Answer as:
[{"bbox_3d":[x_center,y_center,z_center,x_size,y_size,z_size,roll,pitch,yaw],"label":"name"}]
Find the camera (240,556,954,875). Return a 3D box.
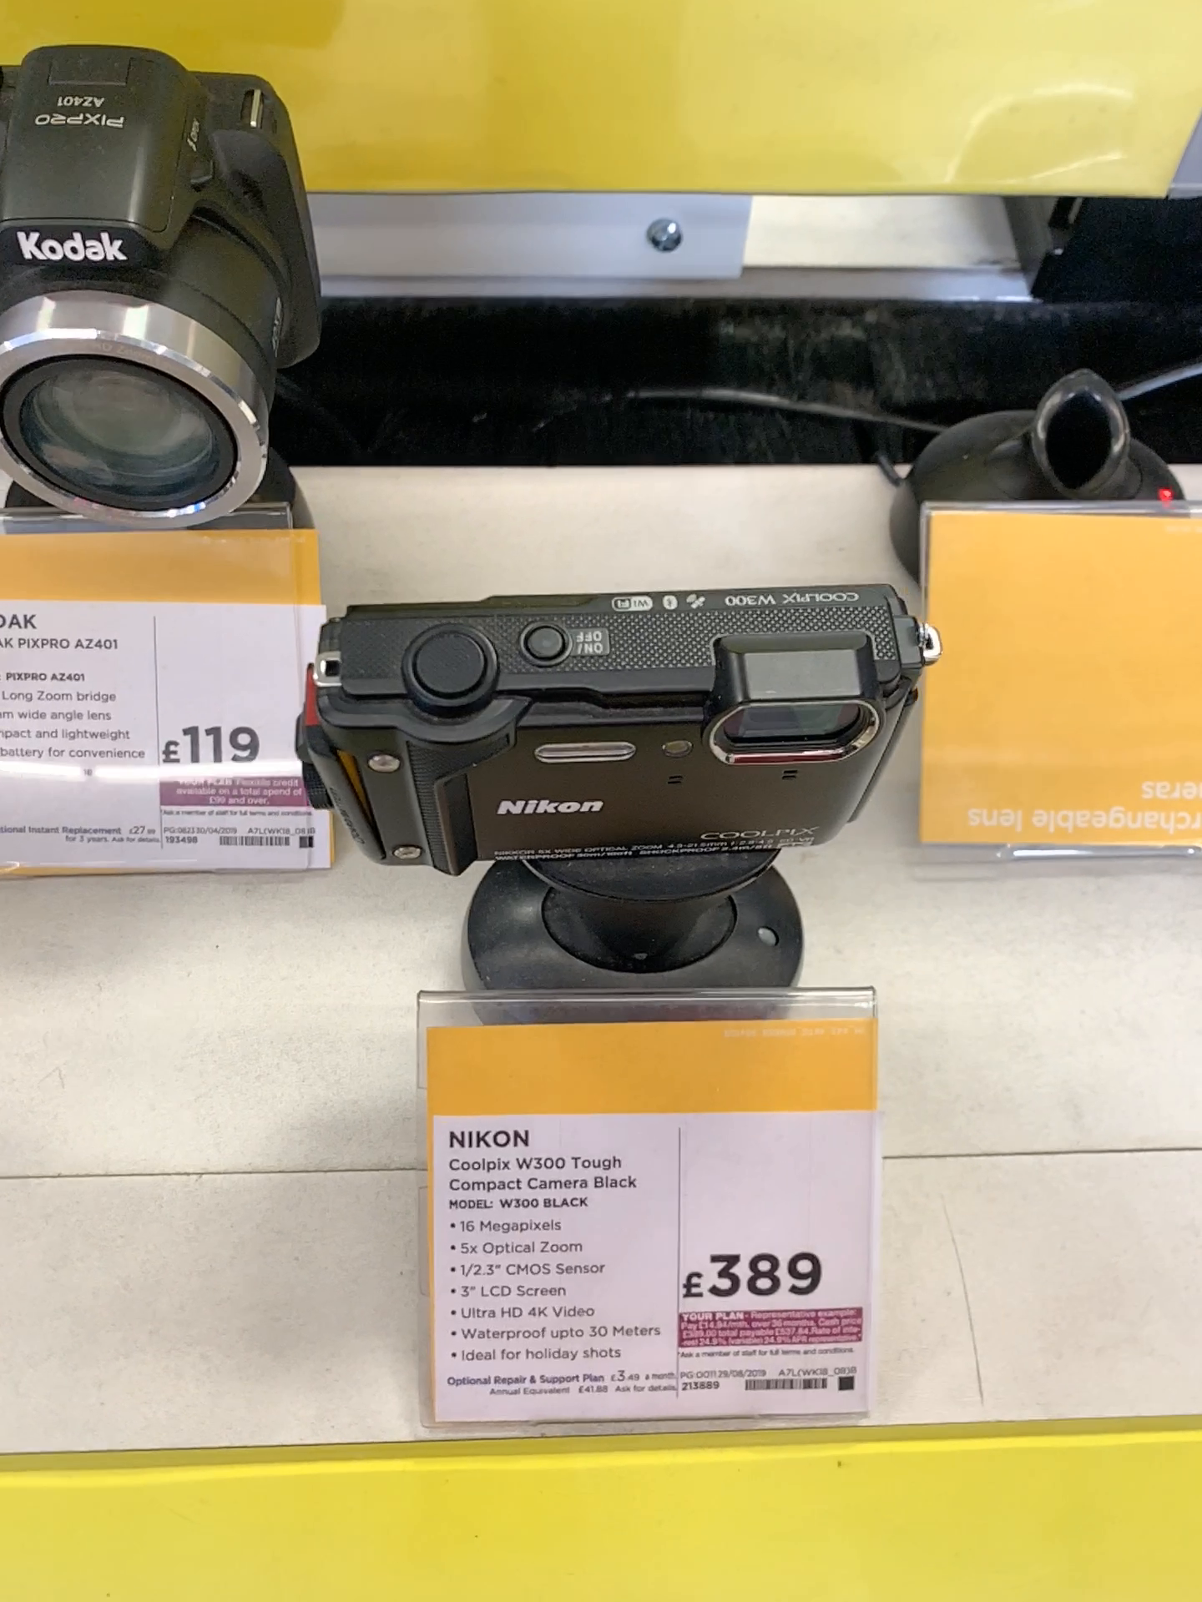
[{"bbox_3d":[-0.002,-0.014,0.247,0.120,0.070,0.030,-1,64,-3],"label":"camera"}]
